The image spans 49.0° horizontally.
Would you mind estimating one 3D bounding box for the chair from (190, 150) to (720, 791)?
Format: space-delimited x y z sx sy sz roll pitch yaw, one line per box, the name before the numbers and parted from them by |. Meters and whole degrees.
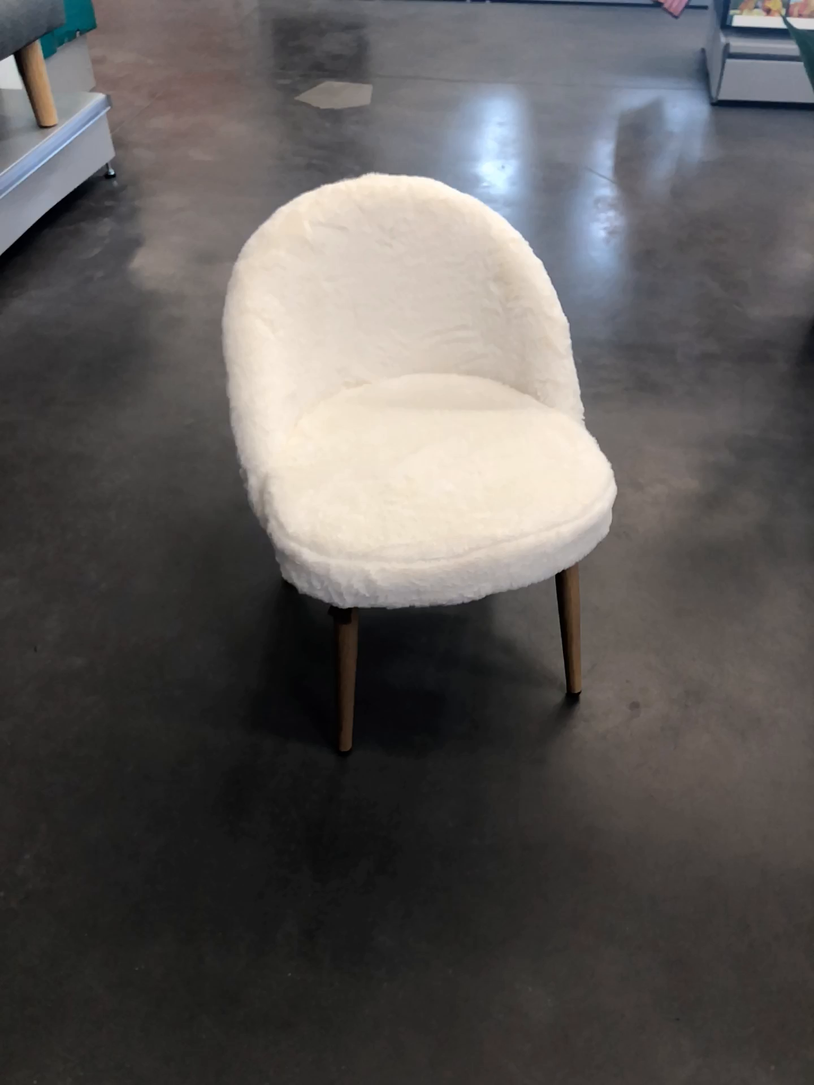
chair | 0.008 -0.098 1.069 0.411 0.537 0.472 -10 43 -11
